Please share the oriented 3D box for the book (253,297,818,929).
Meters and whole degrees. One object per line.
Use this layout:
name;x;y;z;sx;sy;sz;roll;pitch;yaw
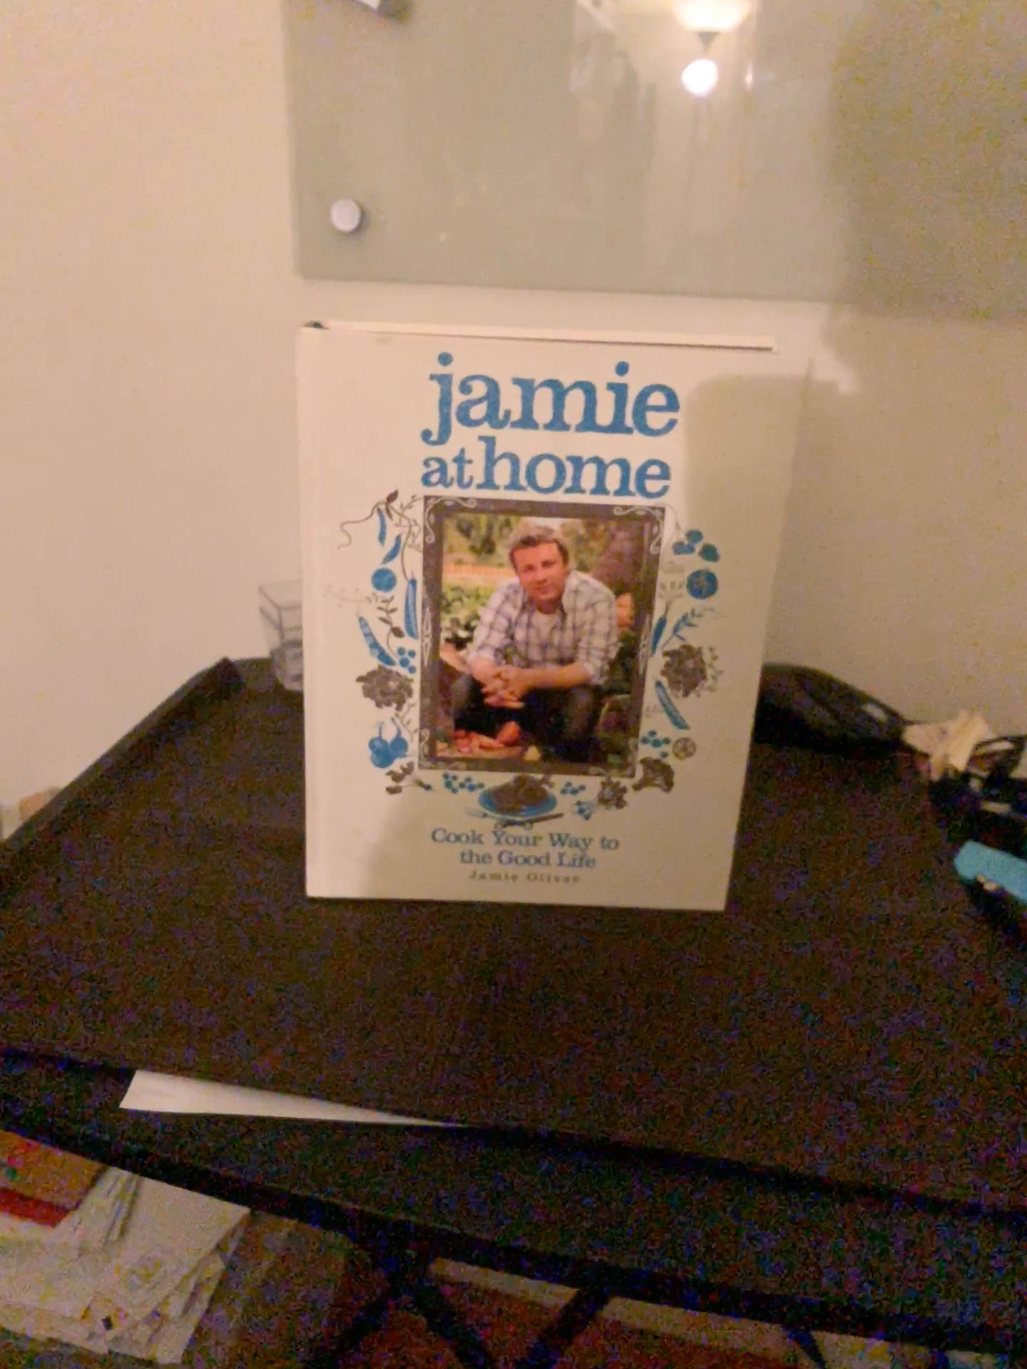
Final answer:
book;0.003;-0.023;0.471;0.210;0.269;0.050;2;23;0
